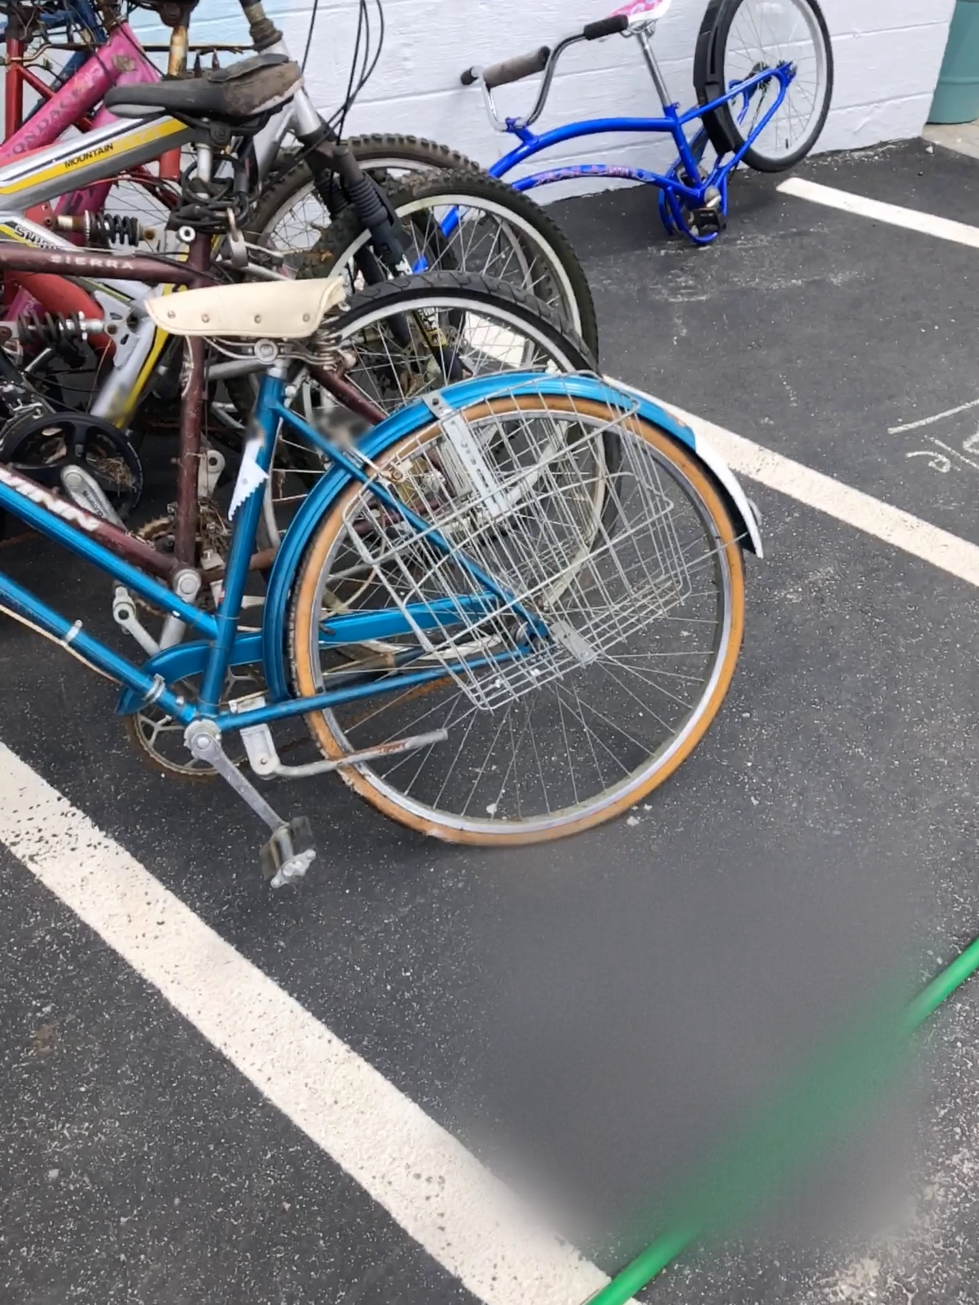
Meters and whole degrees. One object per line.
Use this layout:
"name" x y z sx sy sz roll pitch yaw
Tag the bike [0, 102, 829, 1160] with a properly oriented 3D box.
"bike" -0.432 -0.094 1.198 1.482 0.760 0.477 -12 42 -16
